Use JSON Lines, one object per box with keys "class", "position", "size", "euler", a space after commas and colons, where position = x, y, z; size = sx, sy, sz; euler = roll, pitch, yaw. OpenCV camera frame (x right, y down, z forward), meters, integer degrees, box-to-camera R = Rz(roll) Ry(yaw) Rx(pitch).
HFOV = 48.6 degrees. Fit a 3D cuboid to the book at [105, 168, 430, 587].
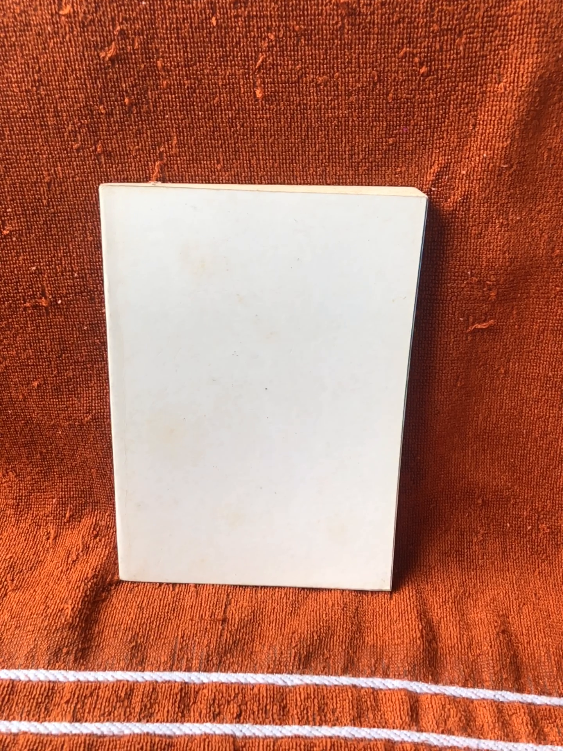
{"class": "book", "position": [-0.011, 0.004, 0.319], "size": [0.150, 0.200, 0.030], "euler": [3, 9, 0]}
